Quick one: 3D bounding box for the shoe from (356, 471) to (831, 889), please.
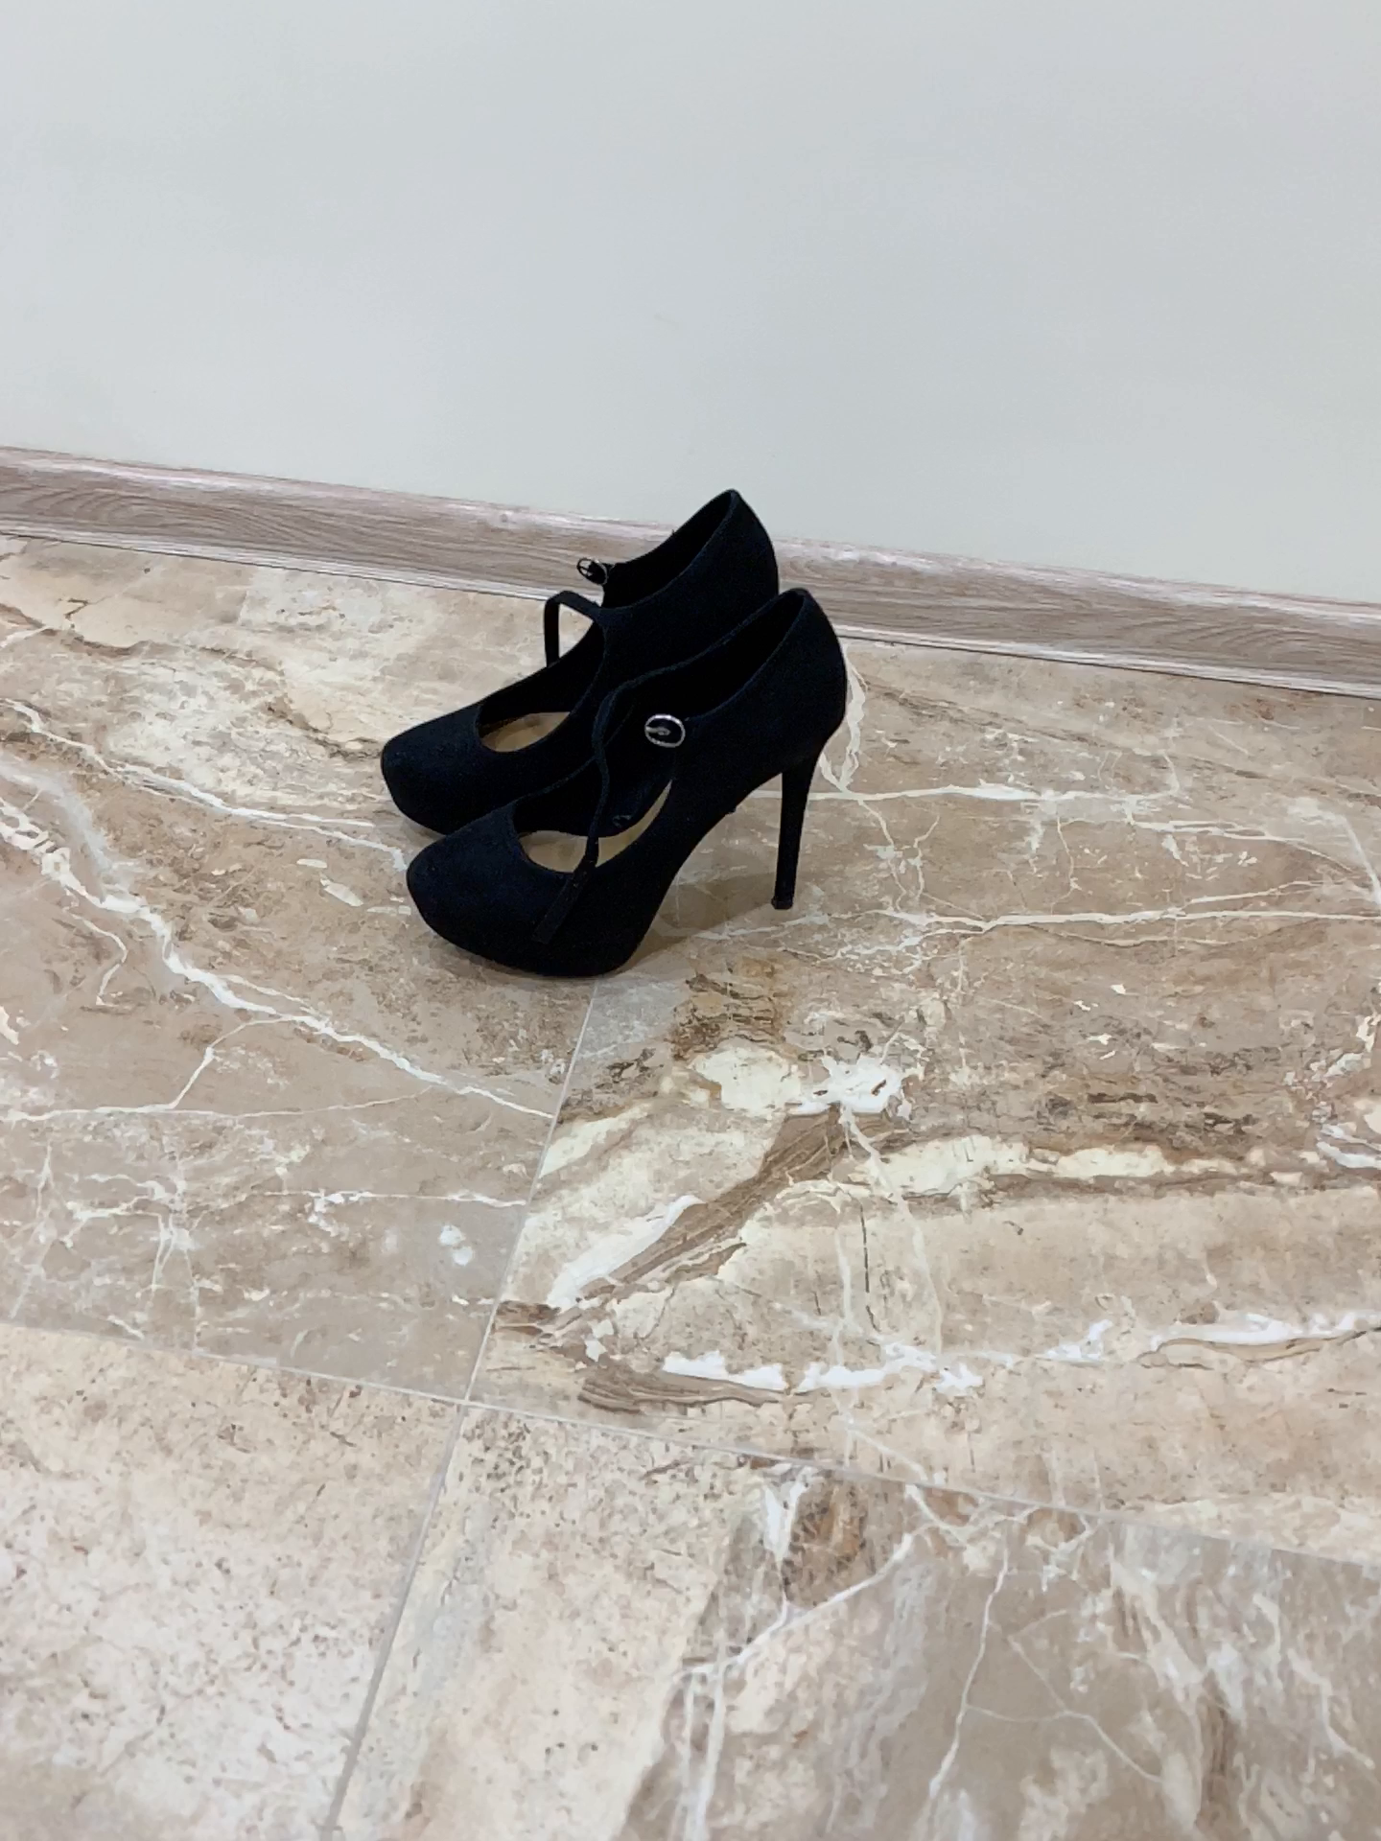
[{"bbox_3d":[-0.051,-0.124,0.723,0.210,0.169,0.090,-8,42,-13],"label":"shoe"}]

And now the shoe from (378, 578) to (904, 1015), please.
[{"bbox_3d":[-0.026,-0.058,0.651,0.210,0.159,0.080,-8,42,-13],"label":"shoe"}]
